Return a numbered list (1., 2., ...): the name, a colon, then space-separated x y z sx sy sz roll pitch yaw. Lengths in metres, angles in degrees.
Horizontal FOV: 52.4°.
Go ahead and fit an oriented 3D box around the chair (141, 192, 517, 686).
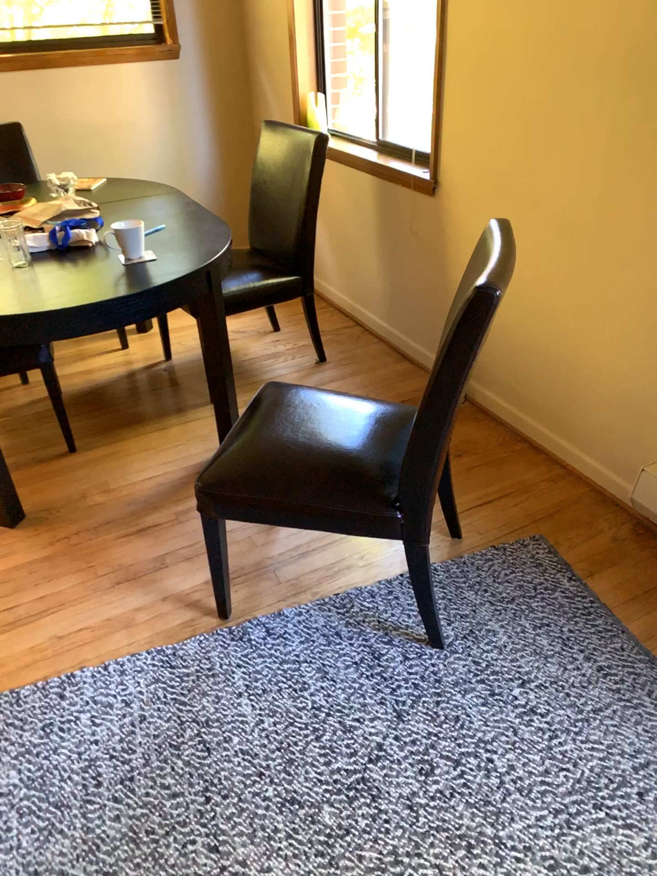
1. chair: 0.065 -0.006 1.670 0.671 1.033 0.563 6 34 13
